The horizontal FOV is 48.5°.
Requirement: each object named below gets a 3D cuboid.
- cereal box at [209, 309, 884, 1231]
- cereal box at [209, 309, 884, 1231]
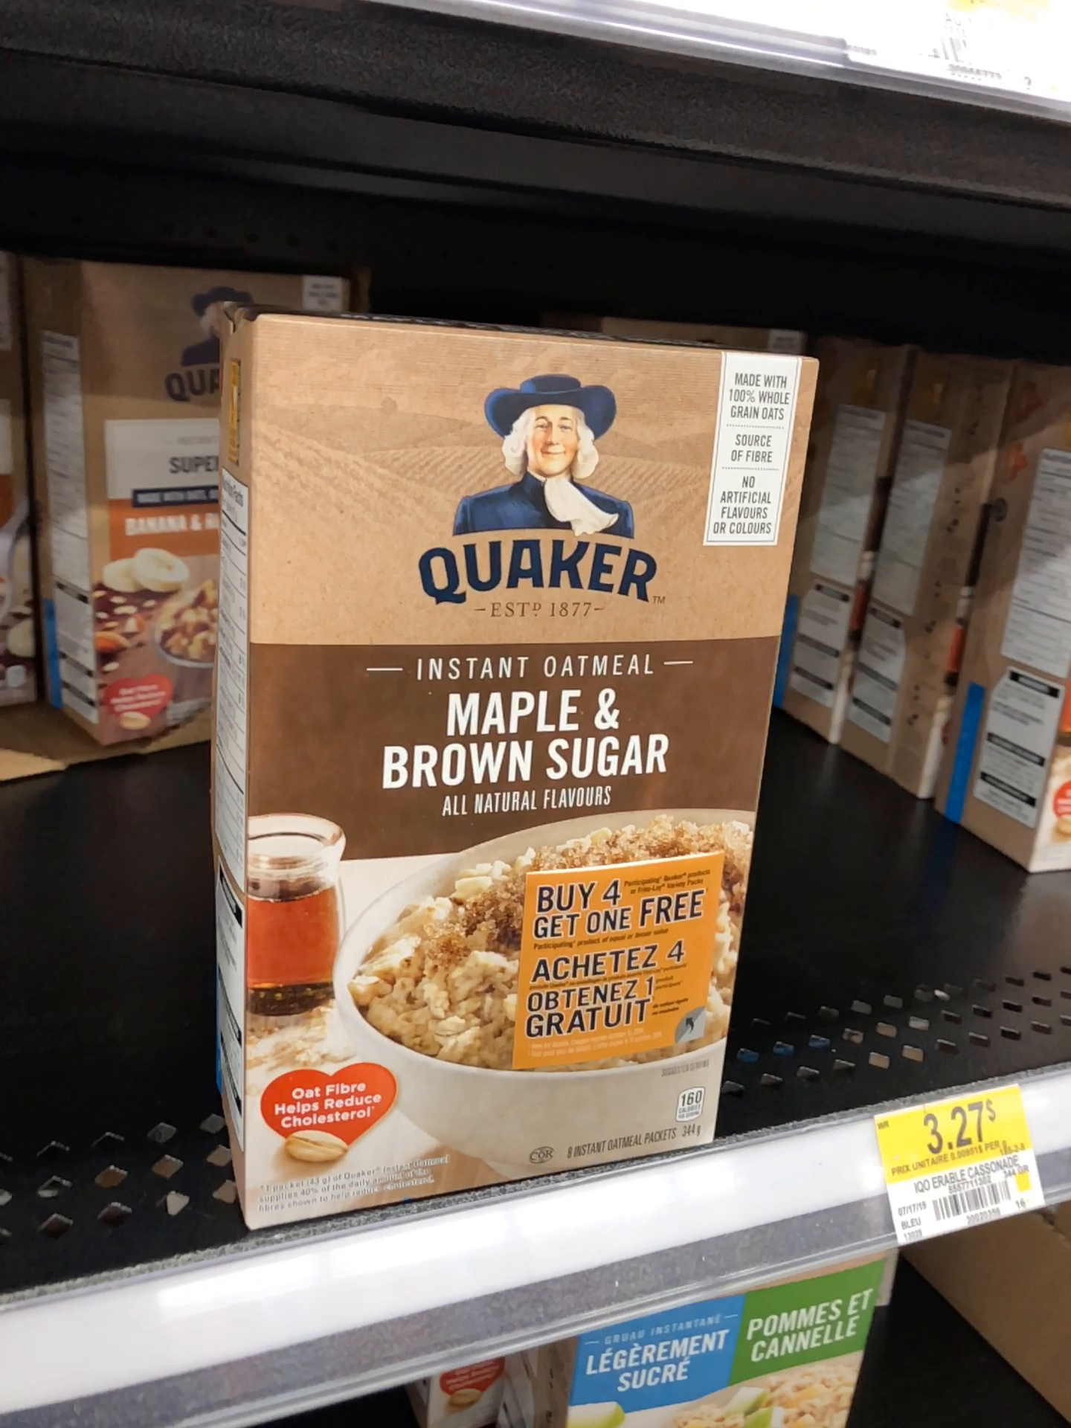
[{"bbox_3d":[-0.006,0.010,0.279,0.130,0.189,0.060,-2,19,-21],"label":"cereal box"},{"bbox_3d":[-0.006,0.010,0.279,0.130,0.189,0.060,-2,19,-21],"label":"cereal box"}]
